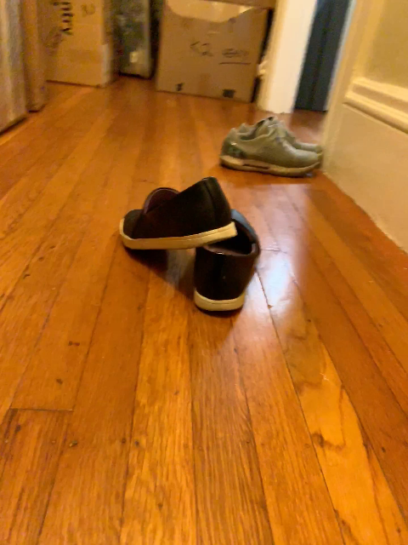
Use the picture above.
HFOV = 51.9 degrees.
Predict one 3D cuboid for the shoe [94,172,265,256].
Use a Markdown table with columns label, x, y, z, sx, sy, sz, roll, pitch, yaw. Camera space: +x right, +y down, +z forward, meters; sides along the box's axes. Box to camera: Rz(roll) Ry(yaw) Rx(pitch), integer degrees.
| label | x | y | z | sx | sy | sz | roll | pitch | yaw |
| --- | --- | --- | --- | --- | --- | --- | --- | --- | --- |
| shoe | -0.046 | -0.081 | 0.560 | 0.100 | 0.080 | 0.250 | -13 | 15 | -35 |

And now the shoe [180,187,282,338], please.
| label | x | y | z | sx | sy | sz | roll | pitch | yaw |
| --- | --- | --- | --- | --- | --- | --- | --- | --- | --- |
| shoe | 0.046 | -0.031 | 0.574 | 0.100 | 0.080 | 0.261 | 11 | 29 | 3 |
